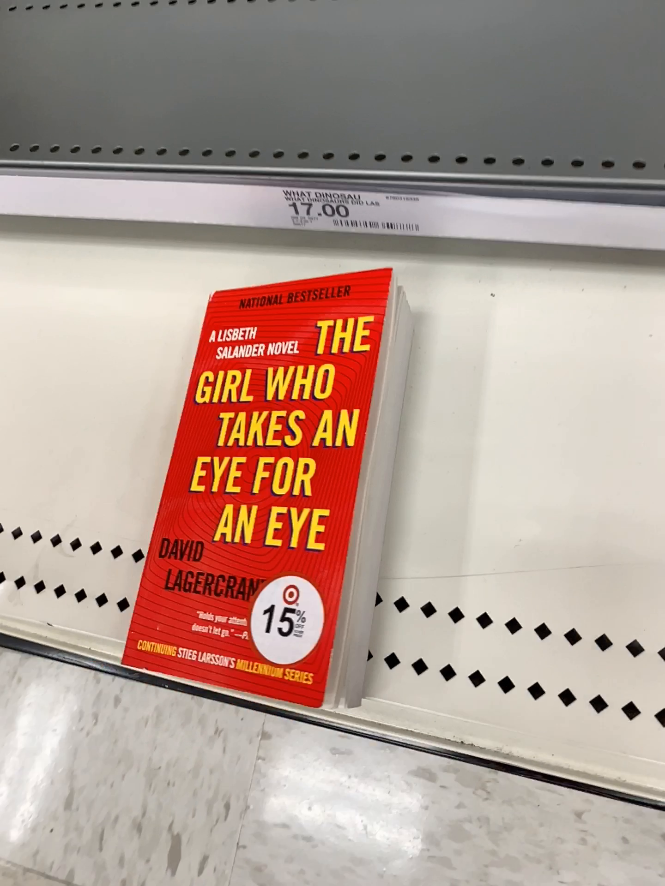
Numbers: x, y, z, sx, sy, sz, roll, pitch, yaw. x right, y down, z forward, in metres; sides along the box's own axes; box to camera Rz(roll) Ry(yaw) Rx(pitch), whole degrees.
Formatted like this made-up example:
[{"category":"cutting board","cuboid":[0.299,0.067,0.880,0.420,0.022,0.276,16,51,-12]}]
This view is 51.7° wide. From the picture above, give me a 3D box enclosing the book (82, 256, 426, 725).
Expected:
[{"category":"book","cuboid":[-0.028,0.013,0.320,0.115,0.046,0.199,5,73,15]}]
